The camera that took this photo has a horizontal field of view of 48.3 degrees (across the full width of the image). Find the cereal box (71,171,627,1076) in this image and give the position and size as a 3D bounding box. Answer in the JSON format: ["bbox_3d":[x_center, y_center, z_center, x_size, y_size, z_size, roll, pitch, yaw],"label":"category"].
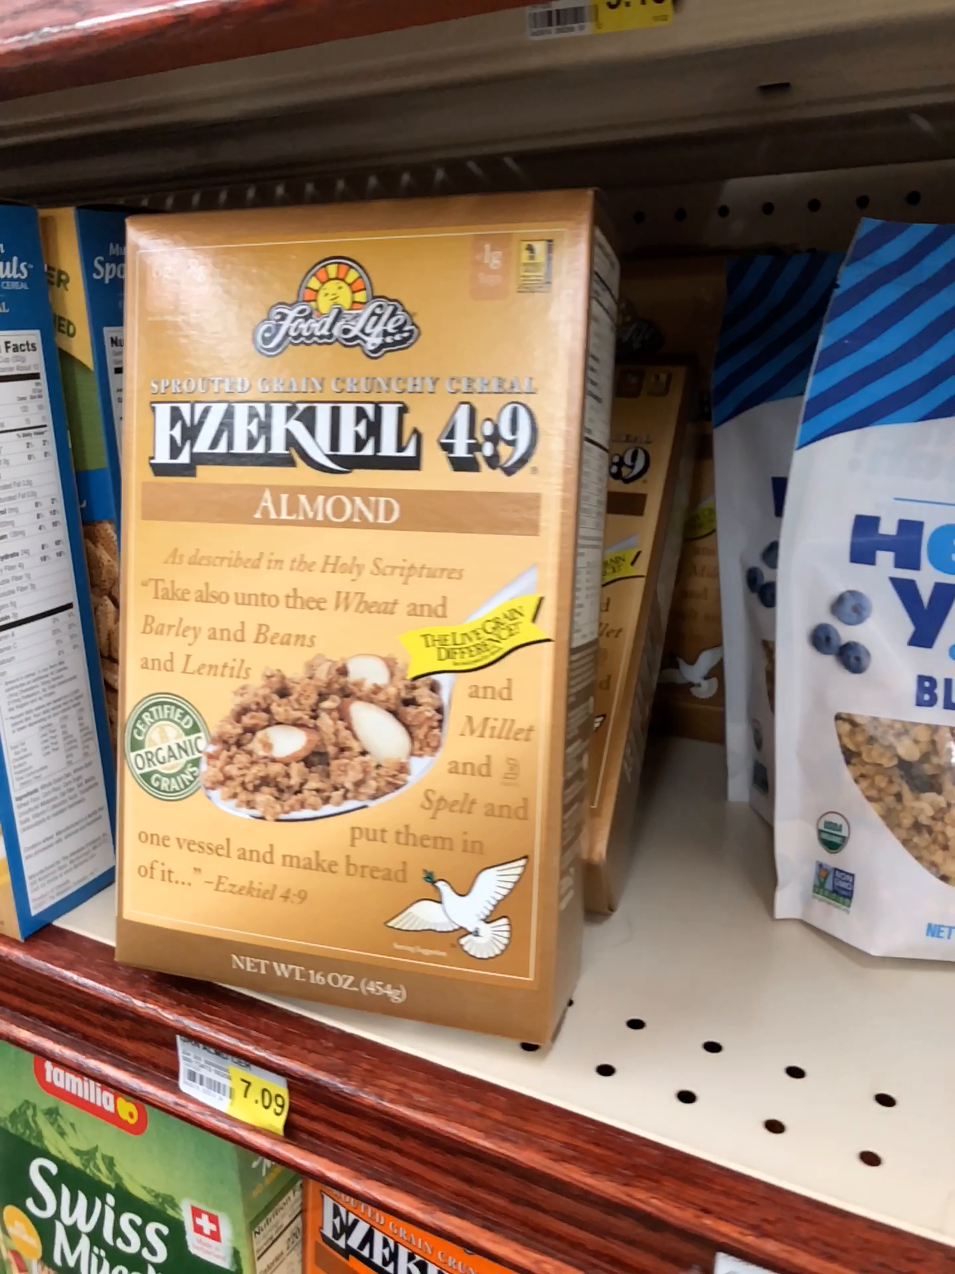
[{"bbox_3d":[-0.037,-0.006,0.308,0.140,0.220,0.060,4,5,18],"label":"cereal box"}]
